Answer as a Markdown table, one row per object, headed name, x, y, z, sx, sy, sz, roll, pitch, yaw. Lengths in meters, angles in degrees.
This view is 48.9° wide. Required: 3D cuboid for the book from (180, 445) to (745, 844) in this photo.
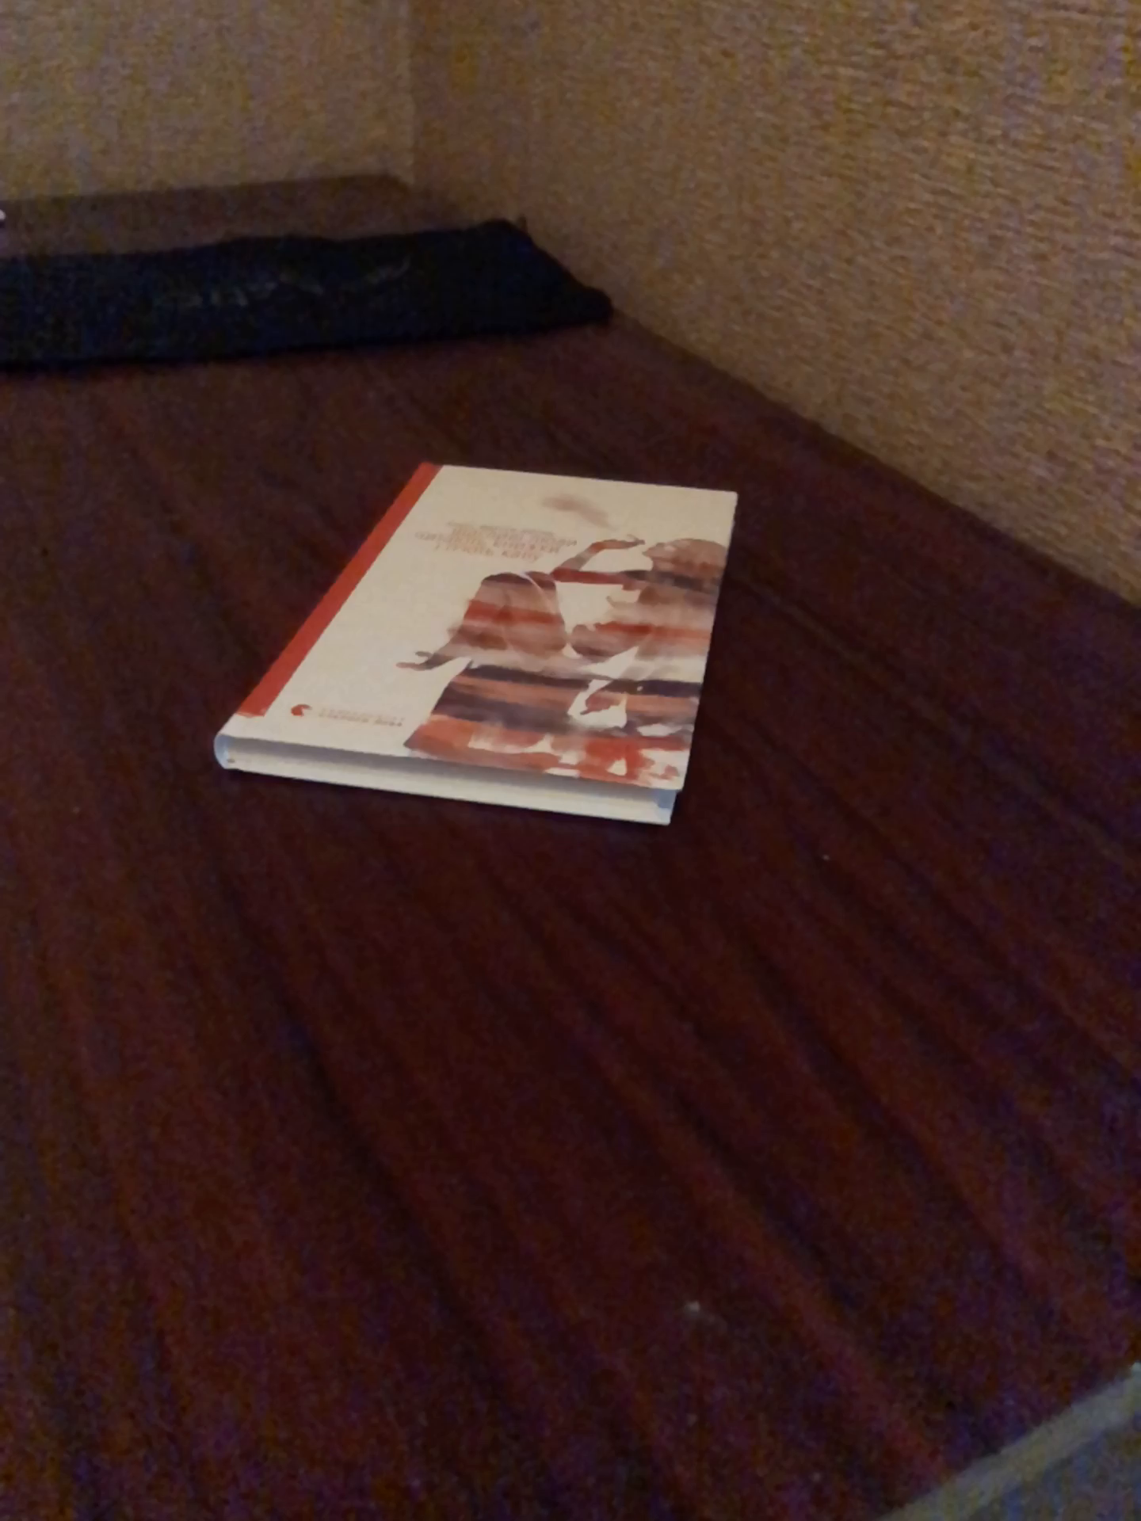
| name | x | y | z | sx | sy | sz | roll | pitch | yaw |
| --- | --- | --- | --- | --- | --- | --- | --- | --- | --- |
| book | -0.020 | -0.057 | 0.456 | 0.150 | 0.020 | 0.229 | 8 | 35 | 7 |
